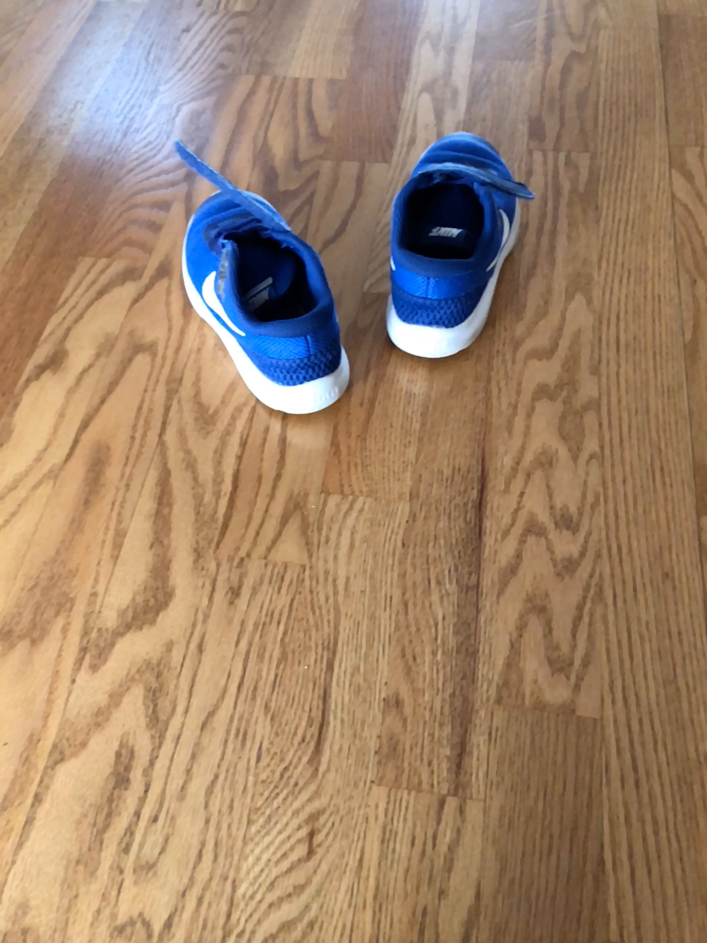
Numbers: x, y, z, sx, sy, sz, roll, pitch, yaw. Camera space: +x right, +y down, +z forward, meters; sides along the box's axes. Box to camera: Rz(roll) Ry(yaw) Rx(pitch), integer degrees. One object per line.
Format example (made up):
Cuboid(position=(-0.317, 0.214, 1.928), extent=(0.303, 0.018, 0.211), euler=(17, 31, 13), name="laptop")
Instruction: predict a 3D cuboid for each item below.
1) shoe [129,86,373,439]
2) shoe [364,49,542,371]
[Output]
Cuboid(position=(-0.069, -0.144, 0.516), extent=(0.093, 0.092, 0.215), euler=(-18, 58, -8), name="shoe")
Cuboid(position=(0.072, -0.187, 0.543), extent=(0.093, 0.092, 0.215), euler=(7, 58, 8), name="shoe")
